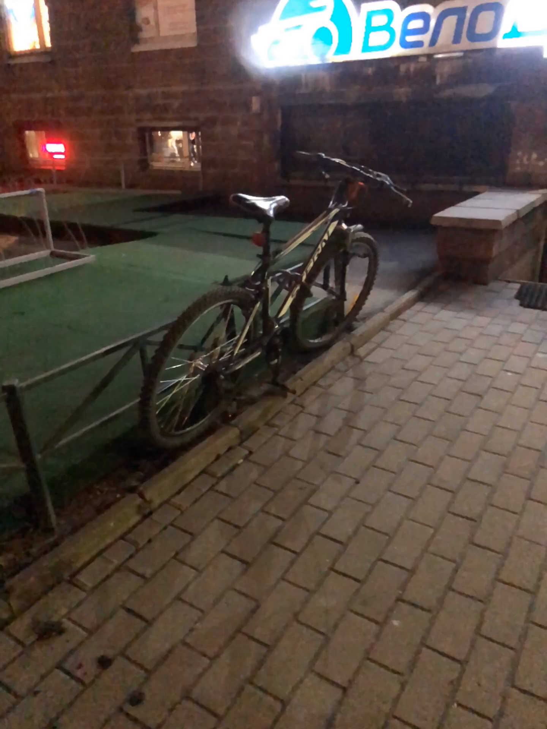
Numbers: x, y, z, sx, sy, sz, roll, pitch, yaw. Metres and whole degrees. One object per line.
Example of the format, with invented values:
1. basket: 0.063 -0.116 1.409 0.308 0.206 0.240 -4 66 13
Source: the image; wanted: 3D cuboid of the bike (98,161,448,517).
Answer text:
1. bike: 0.142 -0.265 2.188 0.530 0.884 1.462 11 23 30
